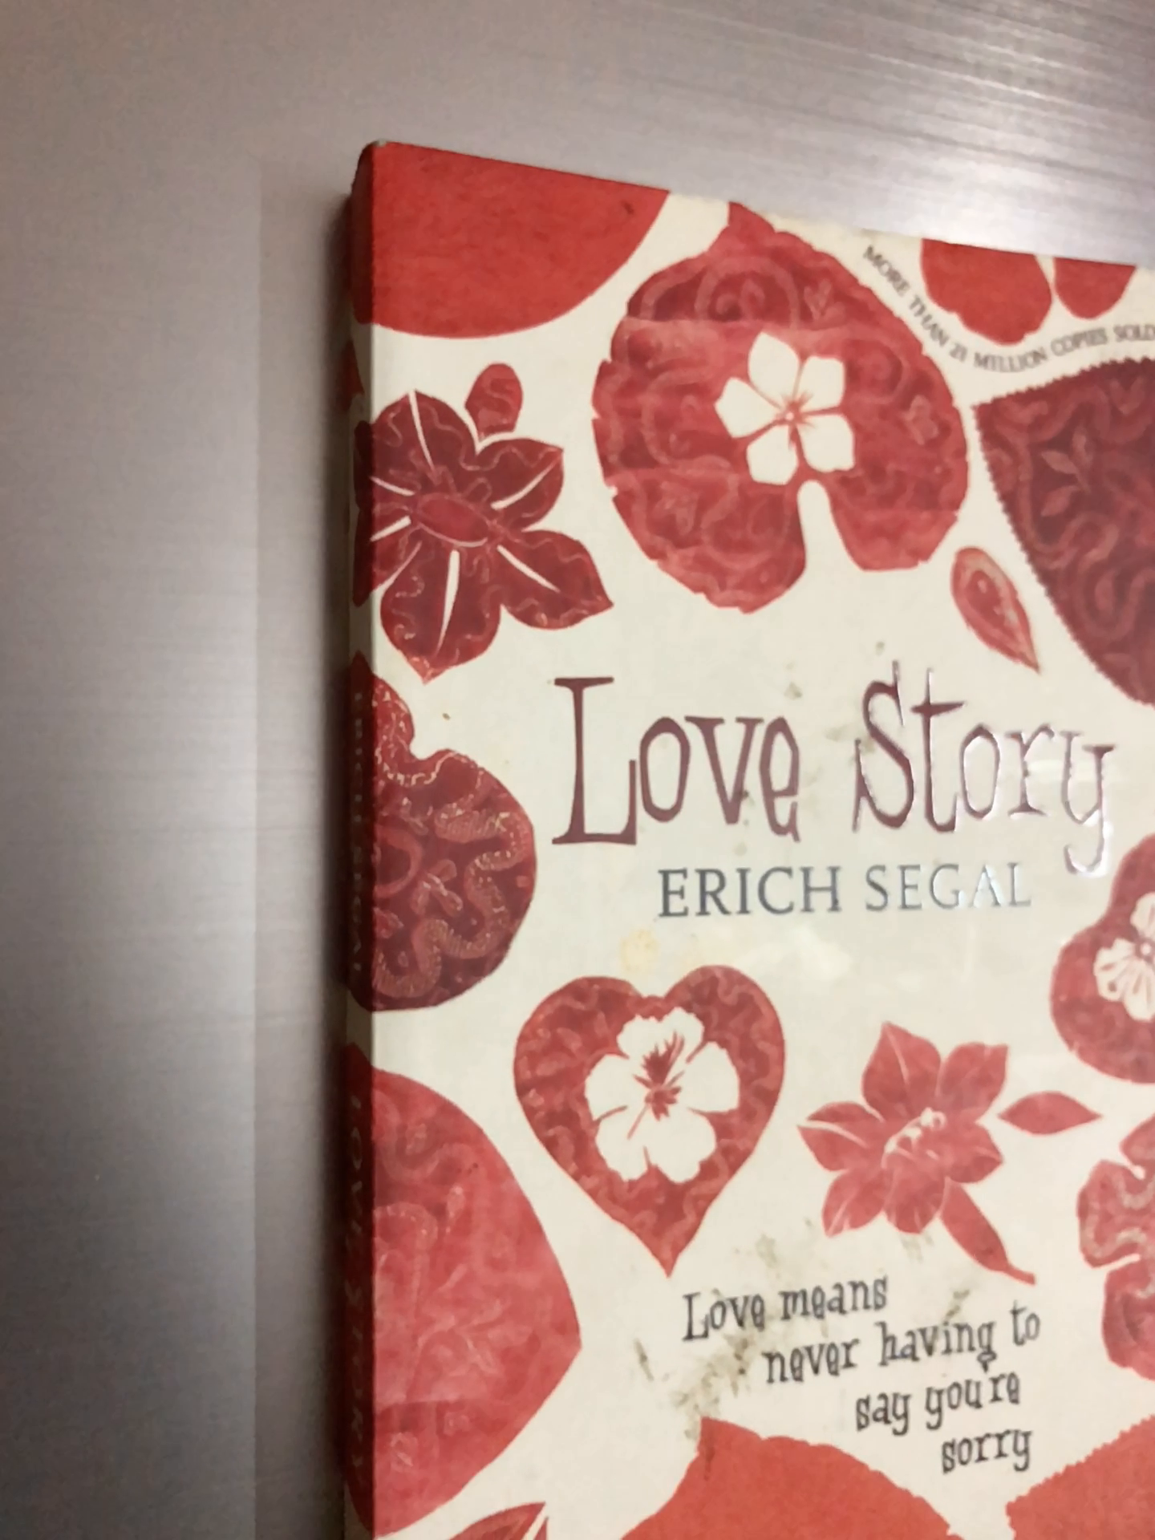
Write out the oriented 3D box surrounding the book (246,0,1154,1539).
[{"bbox_3d":[0.023,0.014,0.161,0.120,0.030,0.180,0,87,-22],"label":"book"}]
